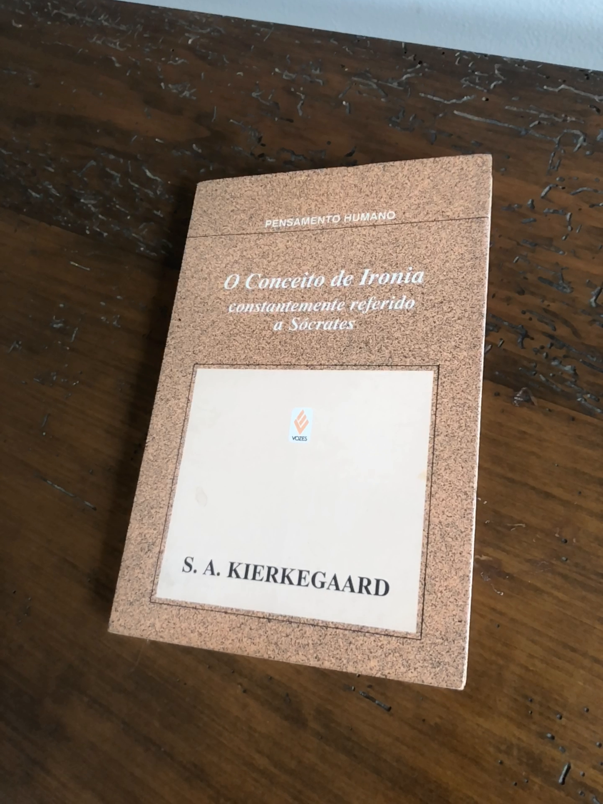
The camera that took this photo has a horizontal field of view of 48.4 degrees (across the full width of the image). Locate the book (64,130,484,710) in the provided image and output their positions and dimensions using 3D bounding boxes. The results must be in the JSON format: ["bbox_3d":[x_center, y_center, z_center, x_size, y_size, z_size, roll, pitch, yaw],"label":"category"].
[{"bbox_3d":[-0.005,-0.006,0.277,0.144,0.024,0.220,2,72,19],"label":"book"}]
